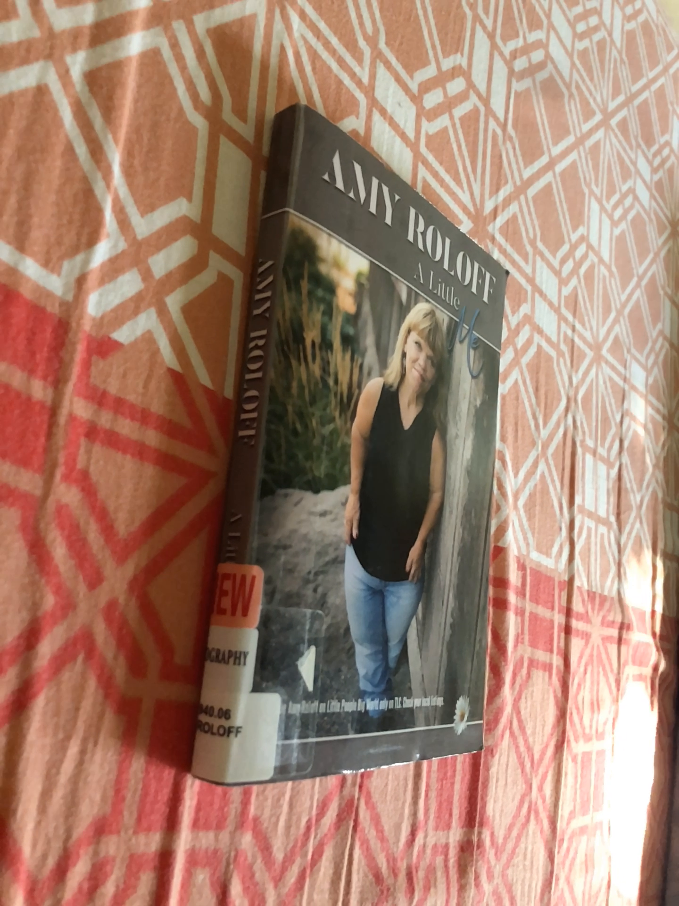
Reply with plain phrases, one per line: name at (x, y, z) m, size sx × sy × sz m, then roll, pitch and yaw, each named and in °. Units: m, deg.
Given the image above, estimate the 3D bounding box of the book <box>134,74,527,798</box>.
book at (0.015, 0.003, 0.286) m, size 0.159 × 0.030 × 0.215 m, roll 18°, pitch 75°, yaw -48°
